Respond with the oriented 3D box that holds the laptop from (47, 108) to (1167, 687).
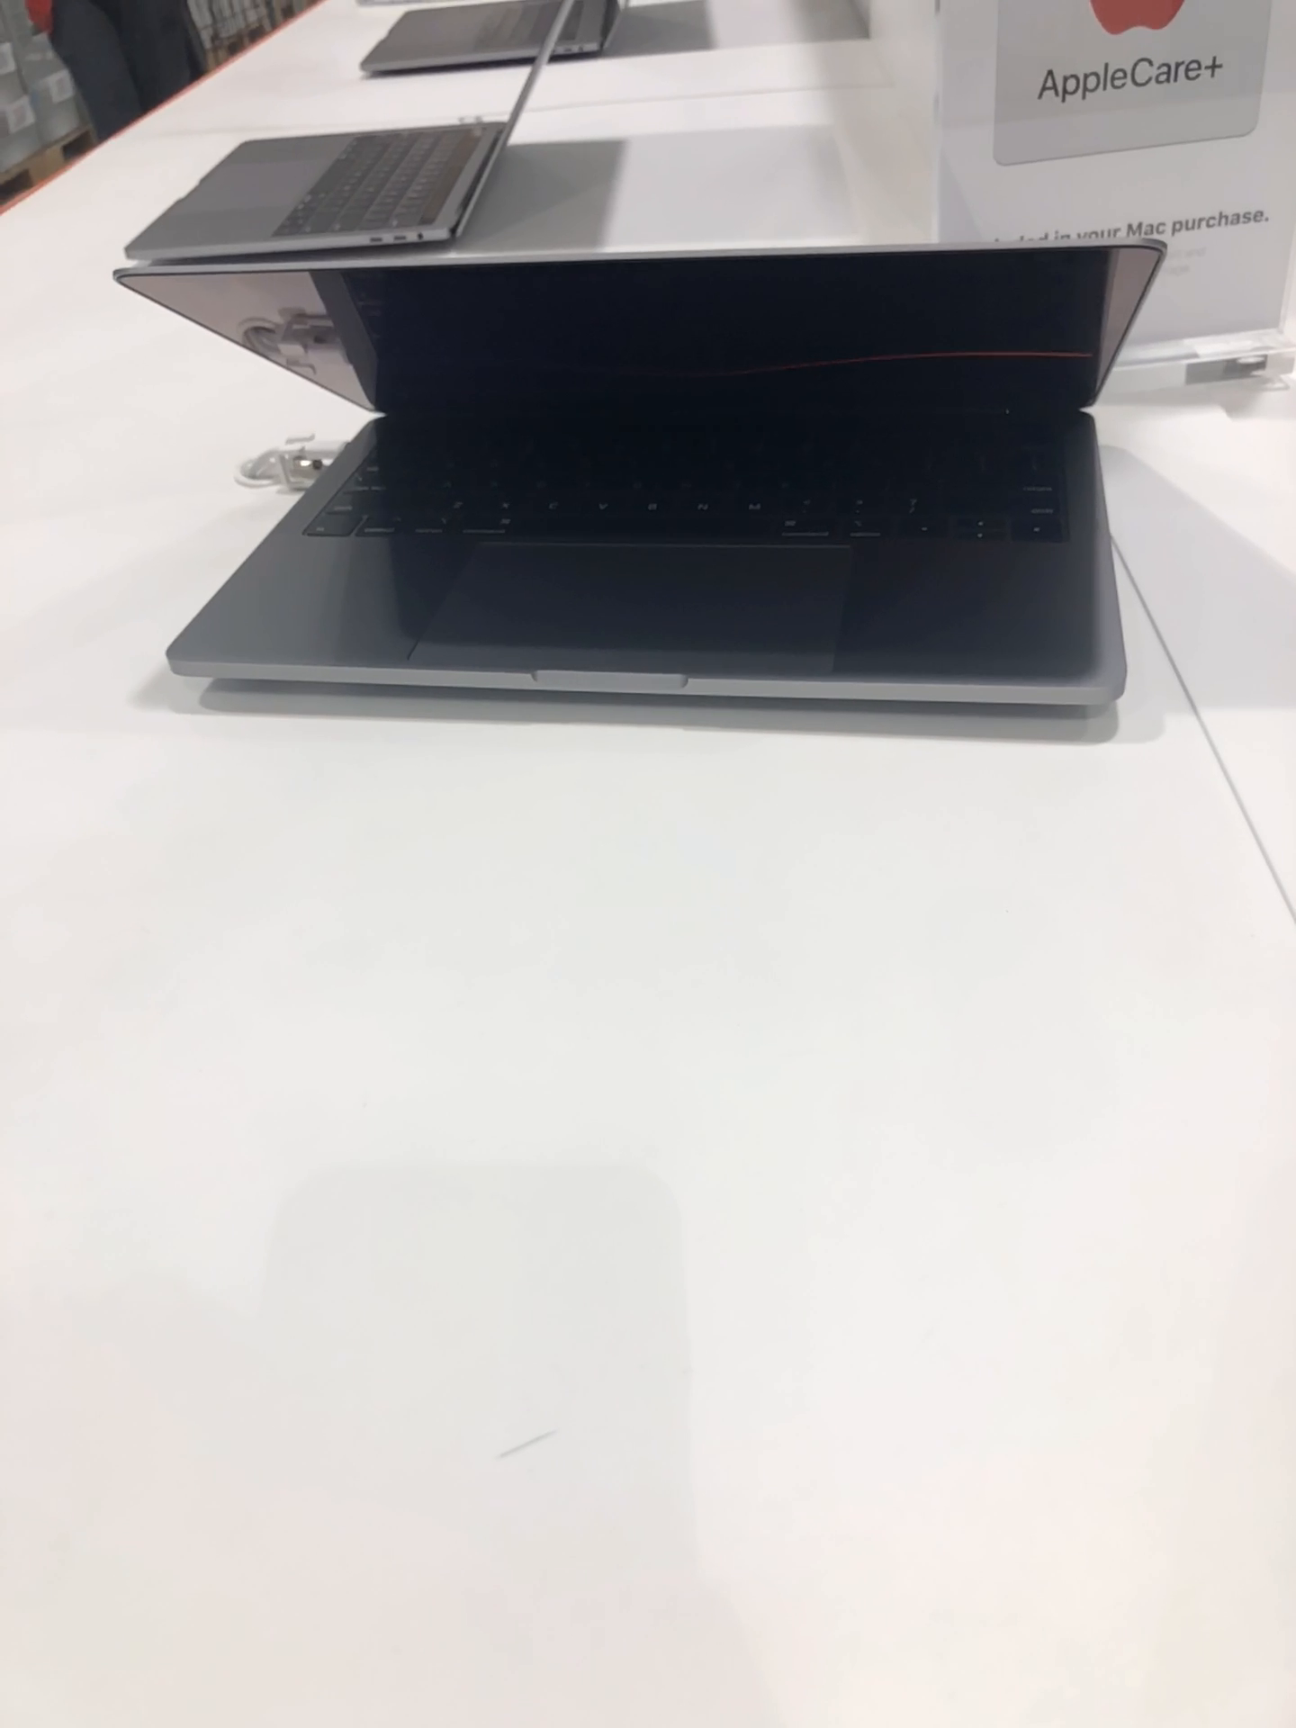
[{"bbox_3d":[0.003,-0.166,0.483,0.297,0.109,0.211,3,38,12],"label":"laptop"}]
